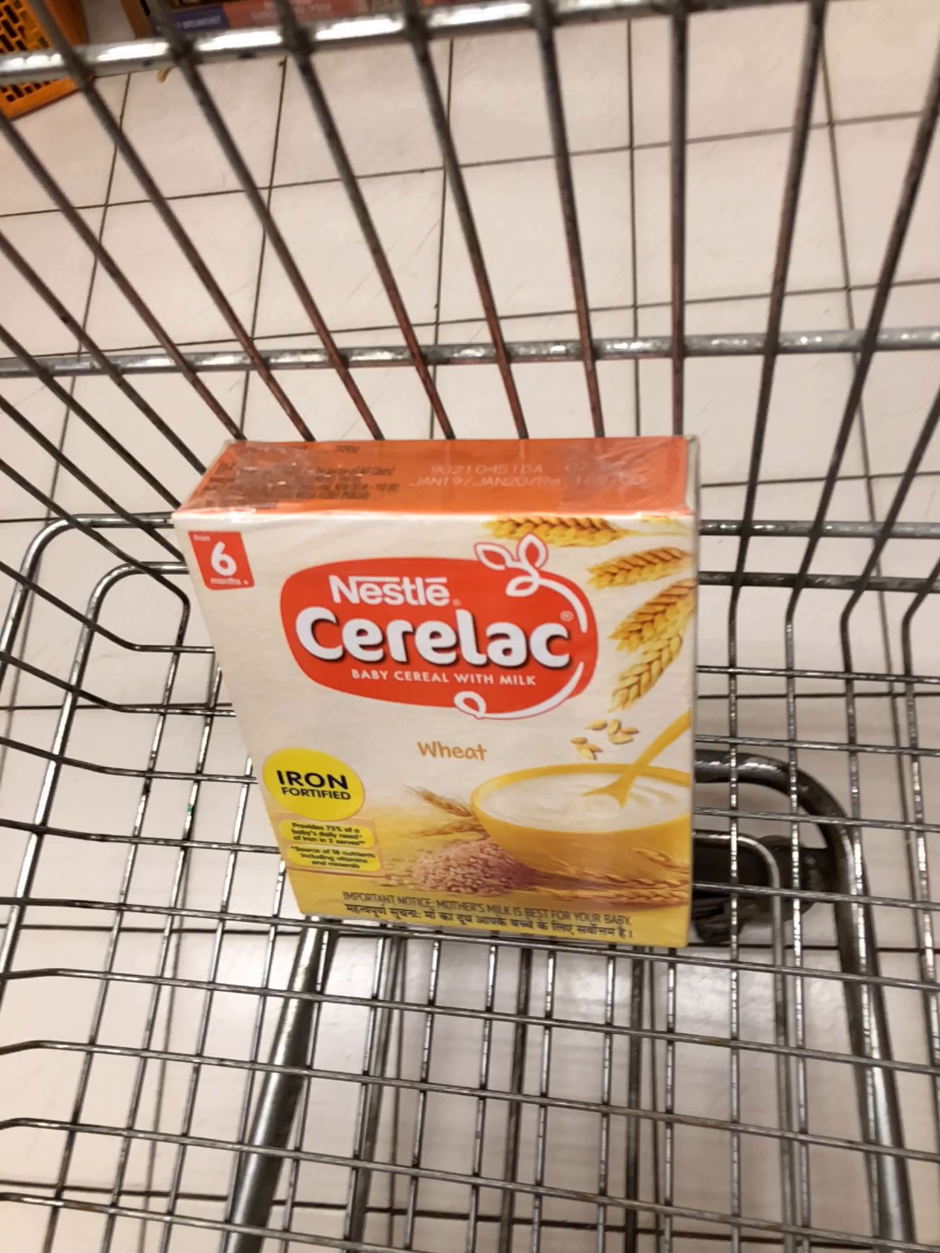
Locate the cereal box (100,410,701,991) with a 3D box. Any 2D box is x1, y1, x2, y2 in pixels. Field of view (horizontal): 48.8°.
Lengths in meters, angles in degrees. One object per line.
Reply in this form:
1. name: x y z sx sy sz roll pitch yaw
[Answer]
1. cereal box: -0.009 0.028 0.320 0.150 0.179 0.050 2 35 12
